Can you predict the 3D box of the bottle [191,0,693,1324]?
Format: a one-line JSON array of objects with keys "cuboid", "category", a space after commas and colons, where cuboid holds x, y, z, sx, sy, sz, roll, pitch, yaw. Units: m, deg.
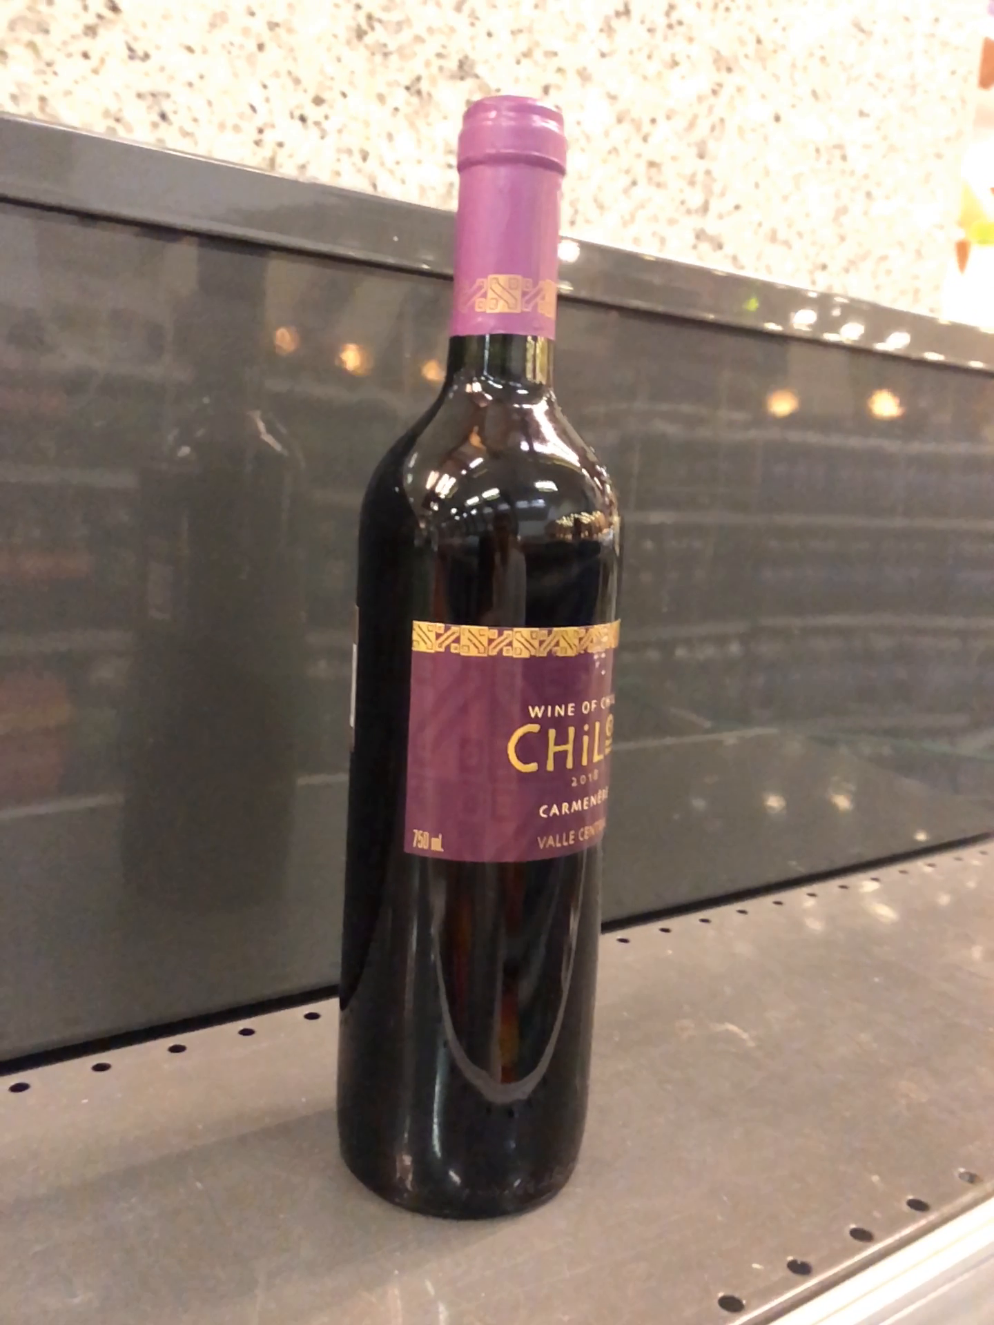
[{"cuboid": [-0.019, 0.002, 0.309, 0.080, 0.319, 0.090, 12, 12, 39], "category": "bottle"}]
